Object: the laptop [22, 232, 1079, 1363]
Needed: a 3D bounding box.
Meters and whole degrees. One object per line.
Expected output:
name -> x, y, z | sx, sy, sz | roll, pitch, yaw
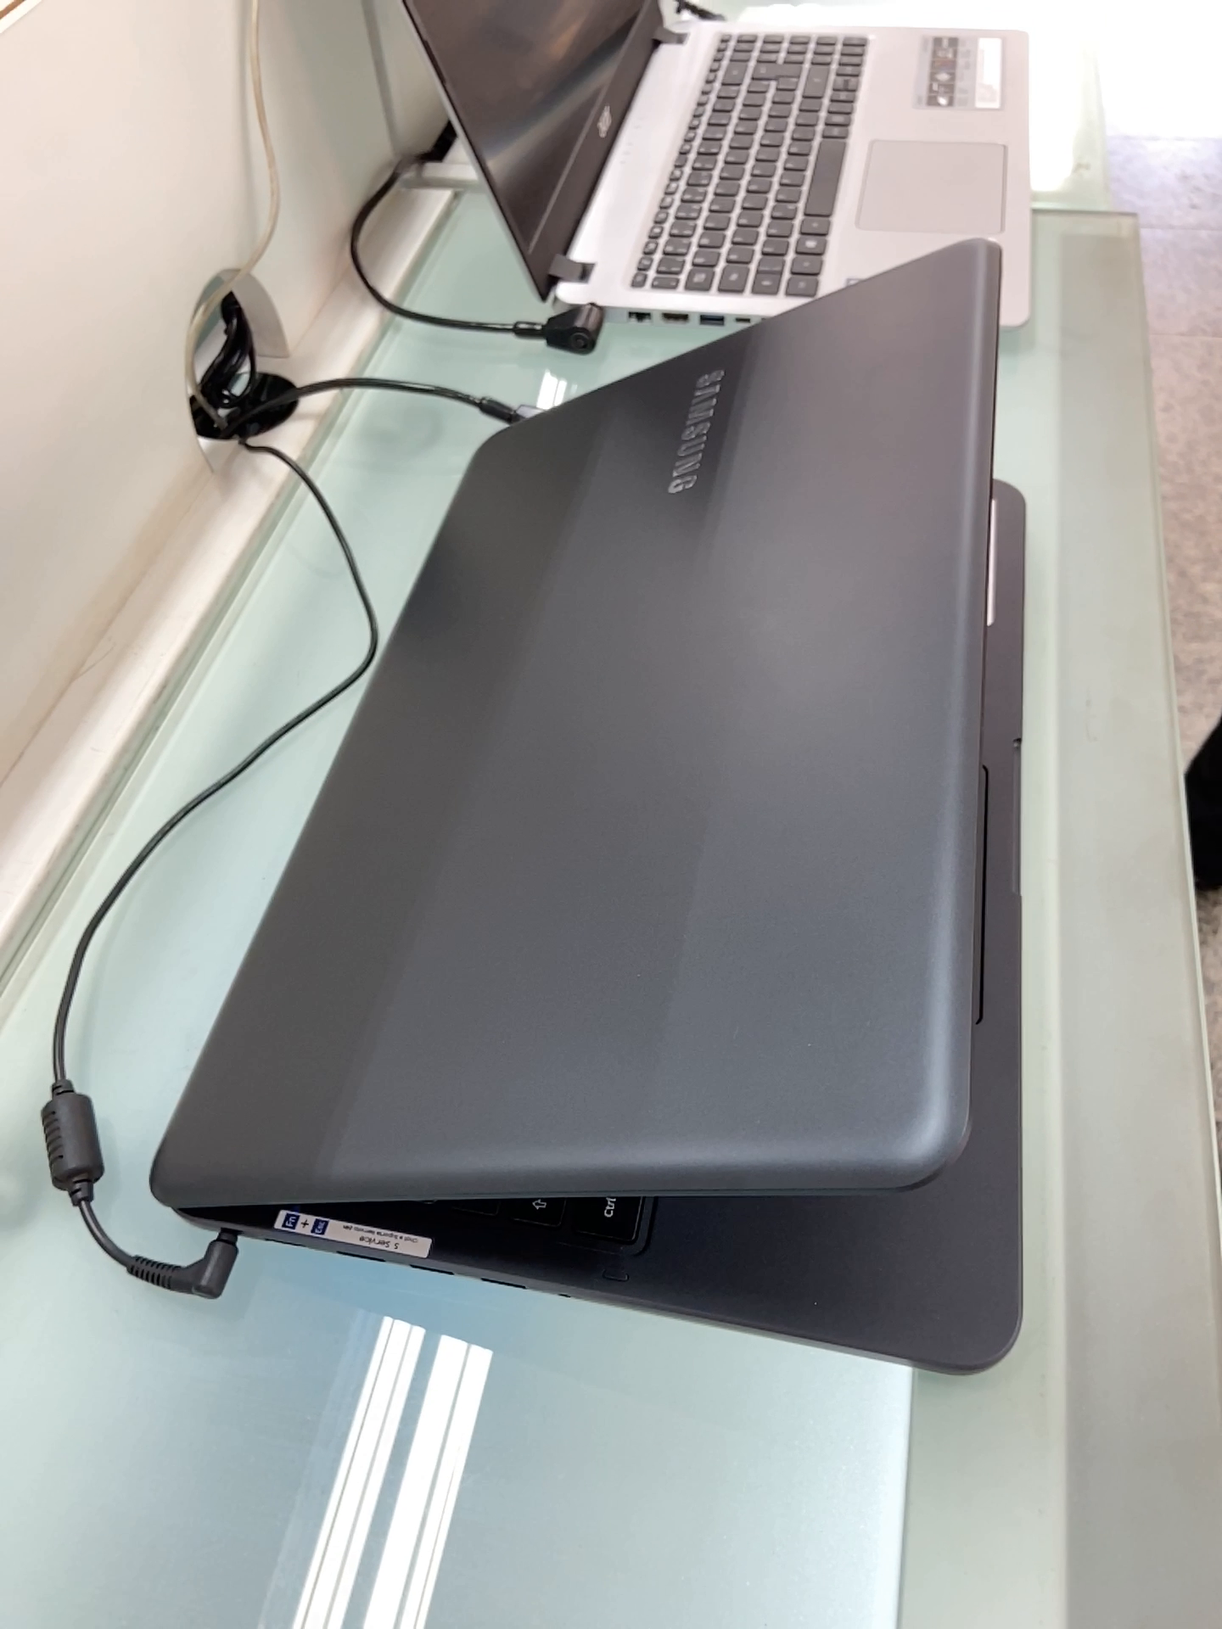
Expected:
laptop -> 0.019, -0.049, 0.424 | 0.233, 0.101, 0.378 | 7, 51, 9
